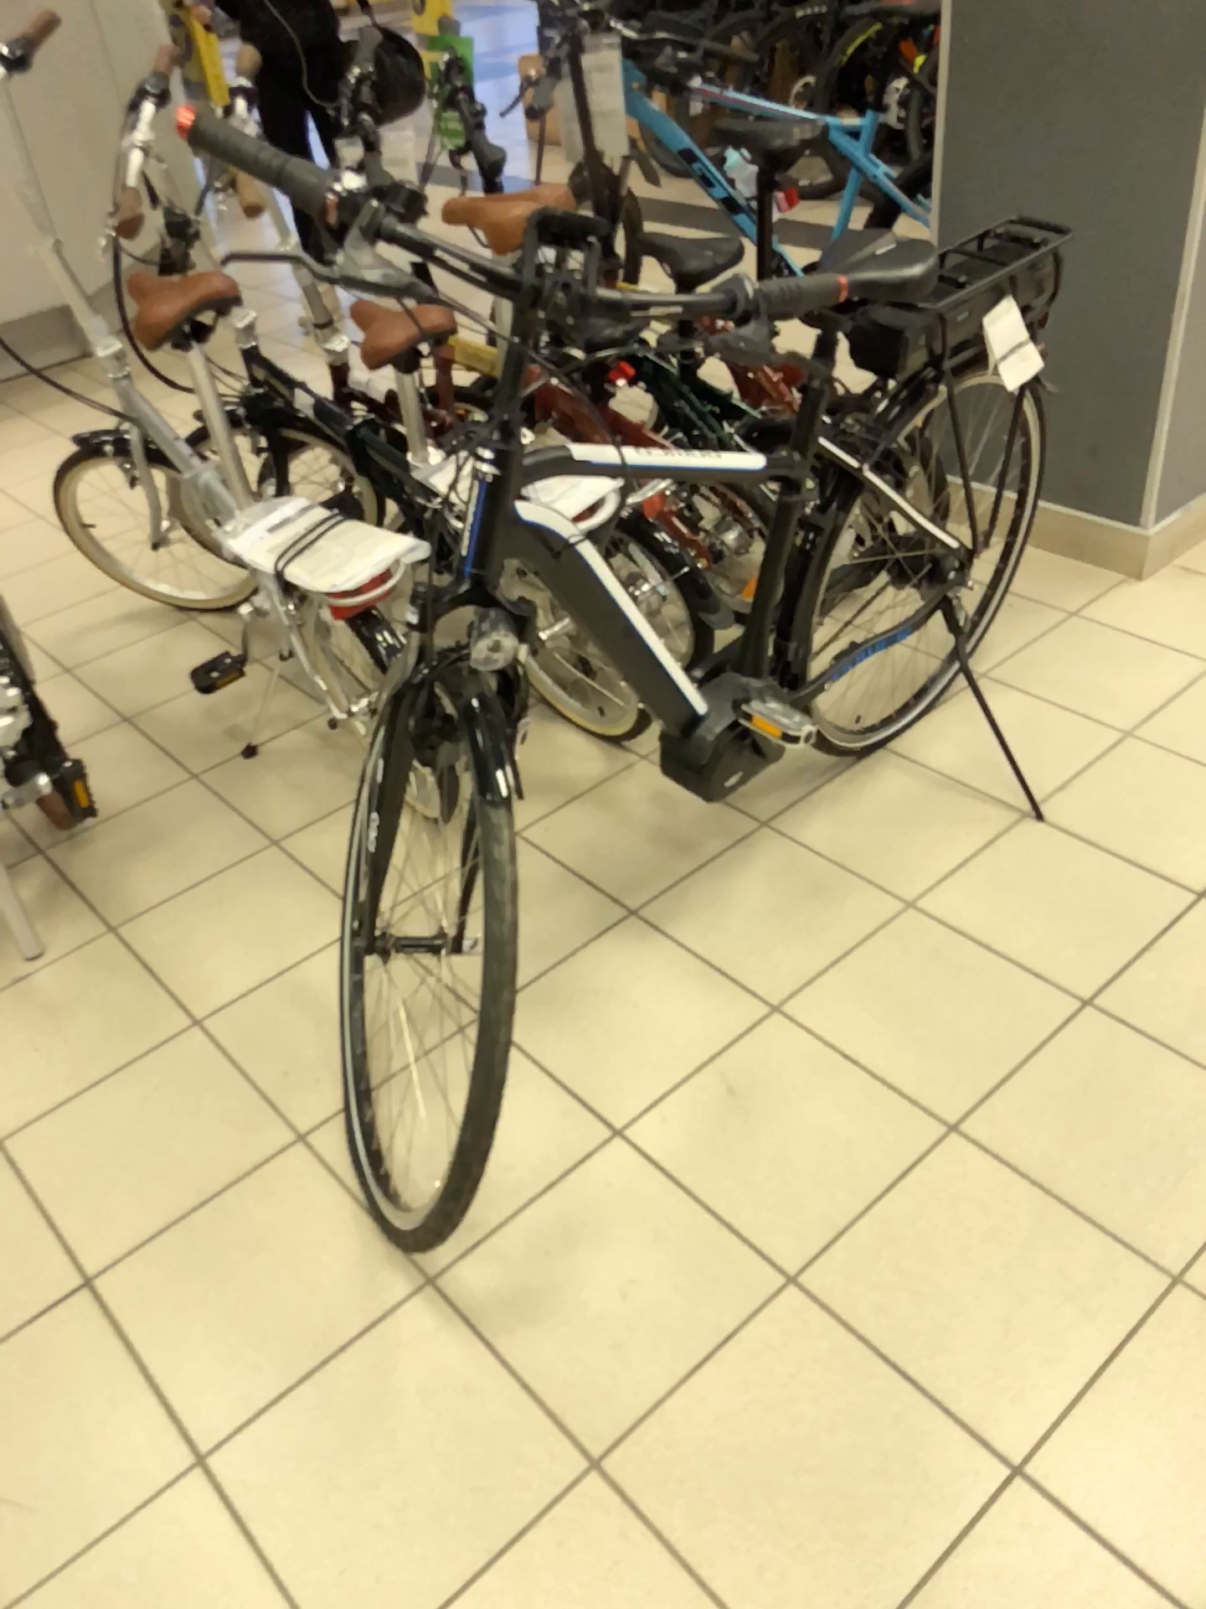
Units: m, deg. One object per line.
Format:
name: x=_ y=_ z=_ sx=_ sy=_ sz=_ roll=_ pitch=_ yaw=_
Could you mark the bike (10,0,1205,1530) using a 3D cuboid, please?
bike: x=0.291 y=-0.290 z=1.701 sx=0.697 sy=1.176 sz=1.618 roll=18 pitch=44 yaw=30
